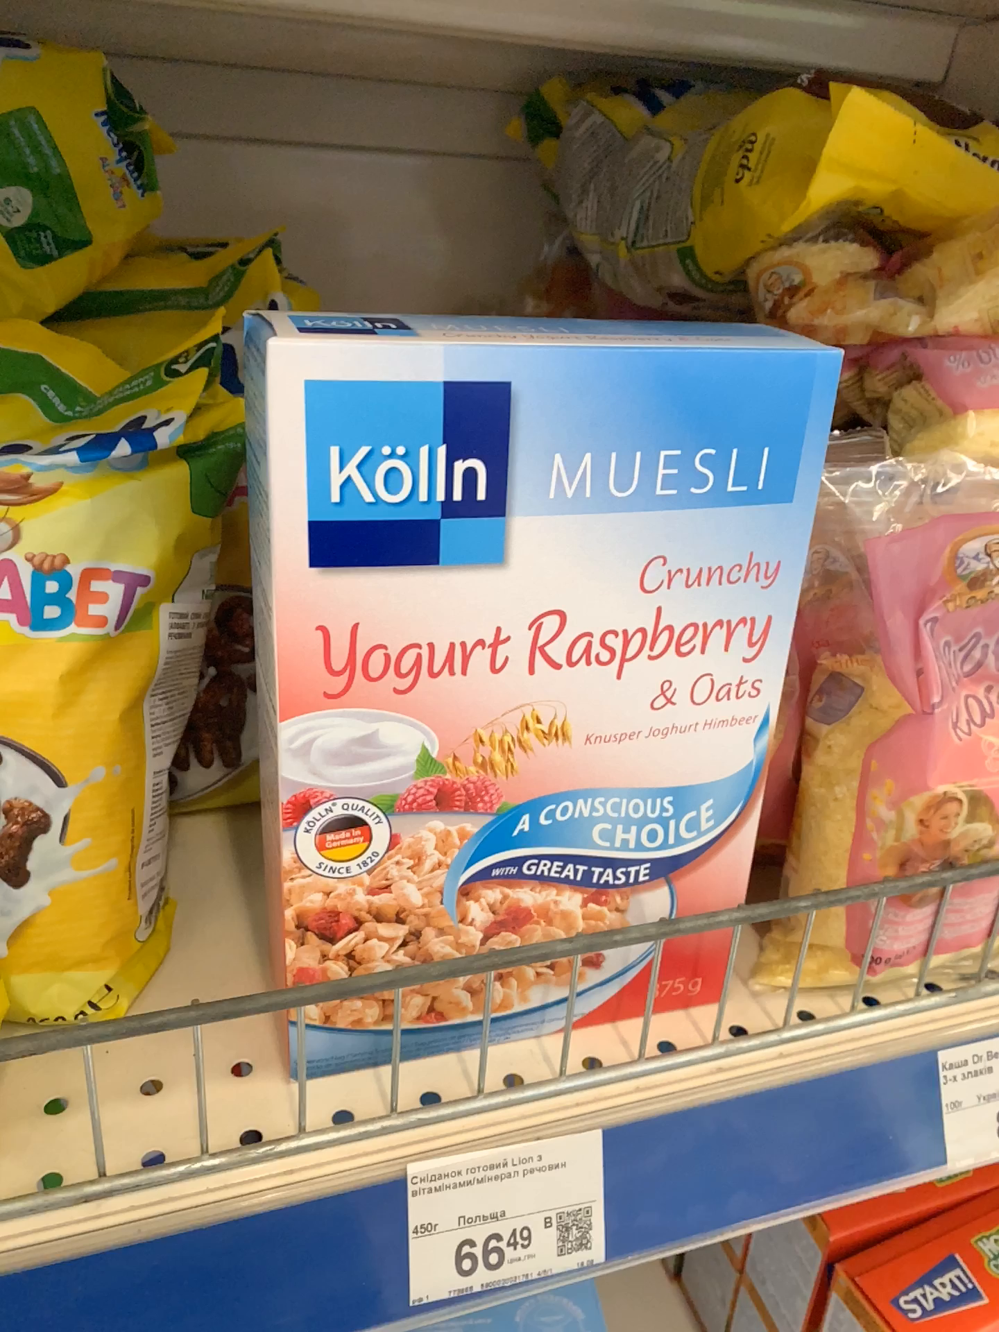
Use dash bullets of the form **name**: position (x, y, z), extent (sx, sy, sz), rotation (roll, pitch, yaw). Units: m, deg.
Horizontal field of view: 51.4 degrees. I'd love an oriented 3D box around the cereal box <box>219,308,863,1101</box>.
- **cereal box**: position (0.003, 0.011, 0.302), extent (0.150, 0.208, 0.060), rotation (-4, 25, -16)
